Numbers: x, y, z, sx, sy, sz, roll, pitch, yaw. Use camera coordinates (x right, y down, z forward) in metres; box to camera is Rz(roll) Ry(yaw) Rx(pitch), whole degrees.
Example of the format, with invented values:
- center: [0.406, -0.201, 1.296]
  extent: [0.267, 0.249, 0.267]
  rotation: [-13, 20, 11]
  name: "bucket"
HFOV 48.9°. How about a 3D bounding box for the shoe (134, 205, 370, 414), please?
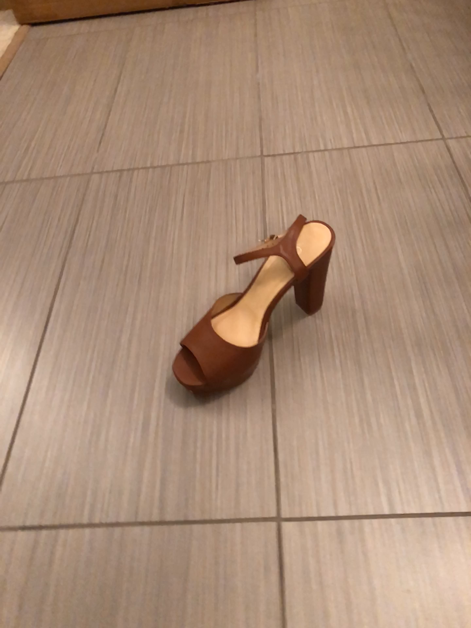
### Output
- center: [0.024, -0.008, 0.603]
  extent: [0.240, 0.090, 0.110]
  rotation: [-31, 52, -9]
  name: "shoe"
